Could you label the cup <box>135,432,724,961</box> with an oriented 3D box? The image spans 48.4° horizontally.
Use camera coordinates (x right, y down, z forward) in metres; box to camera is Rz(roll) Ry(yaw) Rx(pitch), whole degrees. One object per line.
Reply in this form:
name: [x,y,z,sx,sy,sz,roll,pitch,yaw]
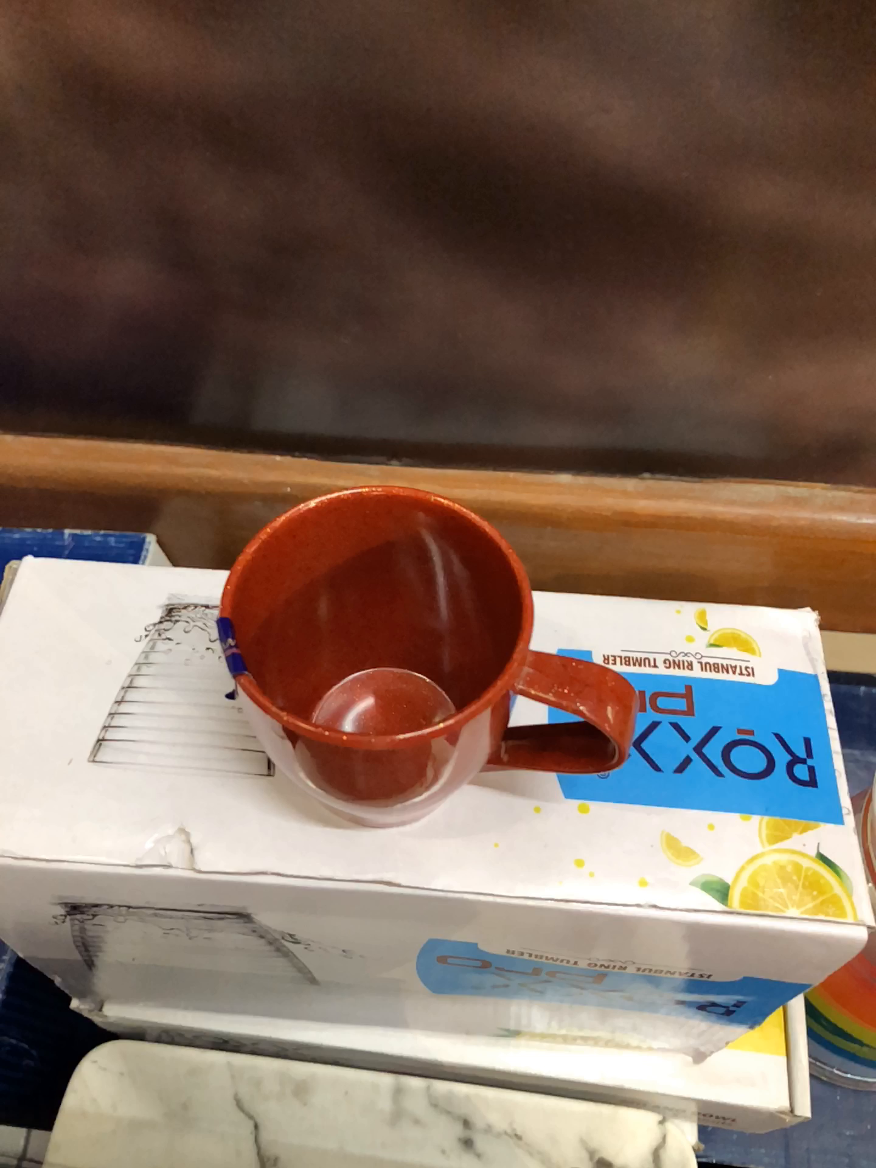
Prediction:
cup: [0.002,0.024,0.221,0.100,0.070,0.070,14,54,13]
